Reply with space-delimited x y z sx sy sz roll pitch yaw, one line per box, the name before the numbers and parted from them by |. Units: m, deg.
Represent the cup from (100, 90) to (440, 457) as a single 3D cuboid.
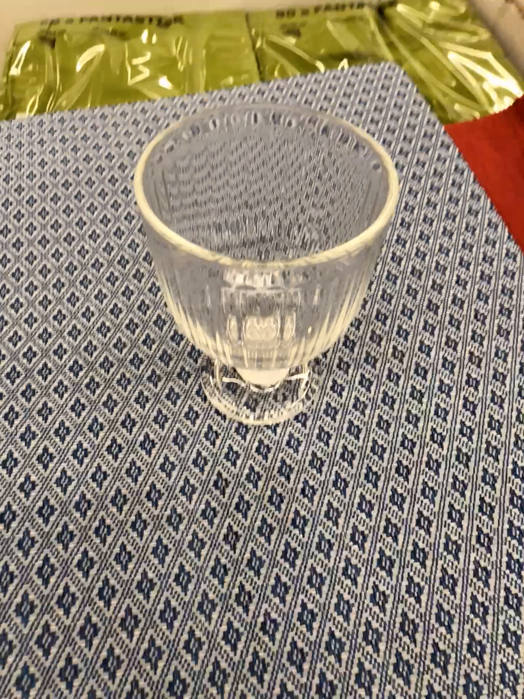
cup | 0.005 -0.029 0.247 0.100 0.110 0.100 0 51 0
